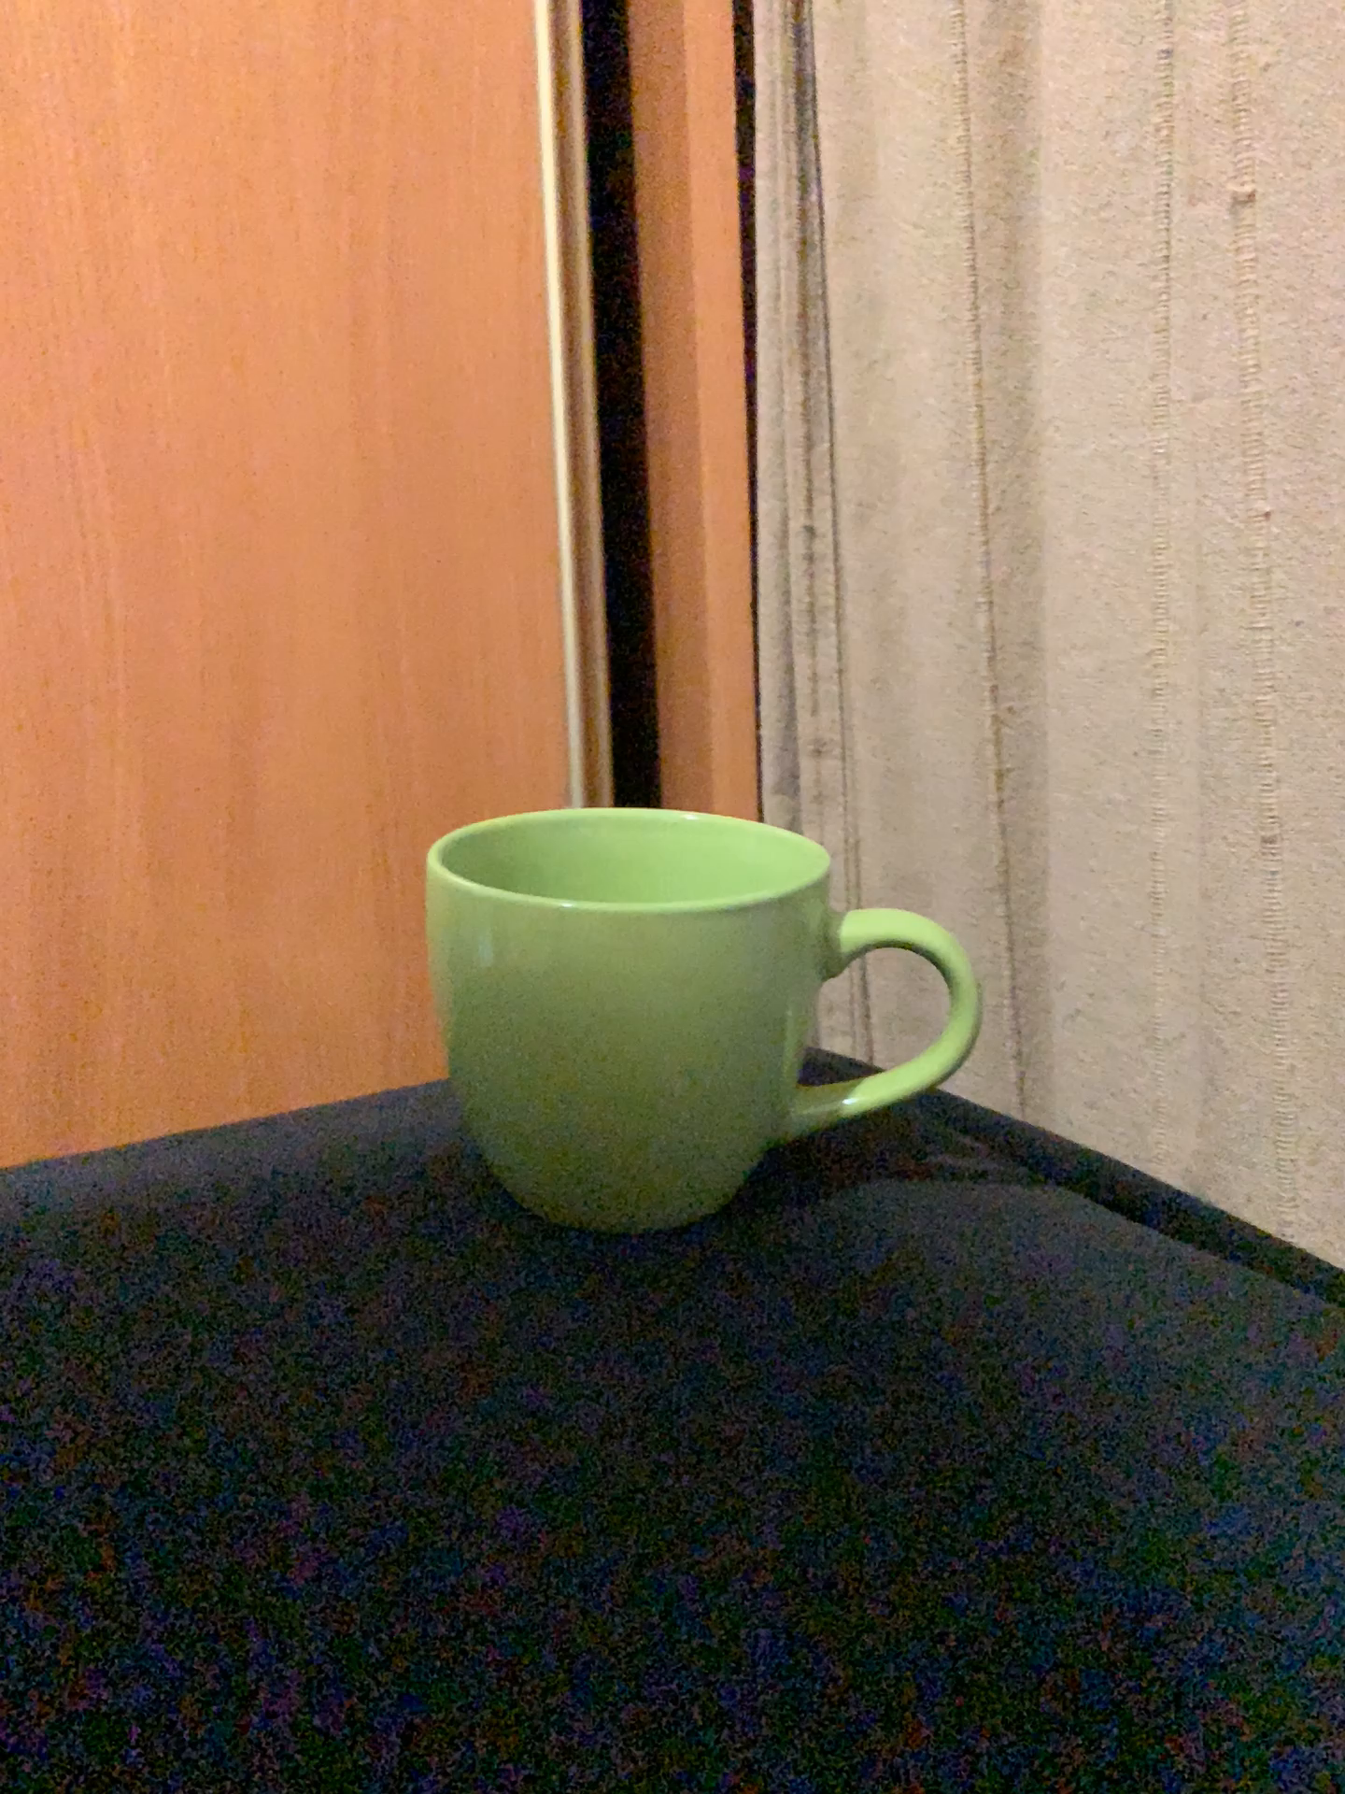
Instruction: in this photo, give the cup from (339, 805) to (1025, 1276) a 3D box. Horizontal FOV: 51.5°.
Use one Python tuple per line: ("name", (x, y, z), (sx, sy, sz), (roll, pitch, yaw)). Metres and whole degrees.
("cup", (0.007, 0.024, 0.302), (0.124, 0.069, 0.090), (0, 16, 9))
